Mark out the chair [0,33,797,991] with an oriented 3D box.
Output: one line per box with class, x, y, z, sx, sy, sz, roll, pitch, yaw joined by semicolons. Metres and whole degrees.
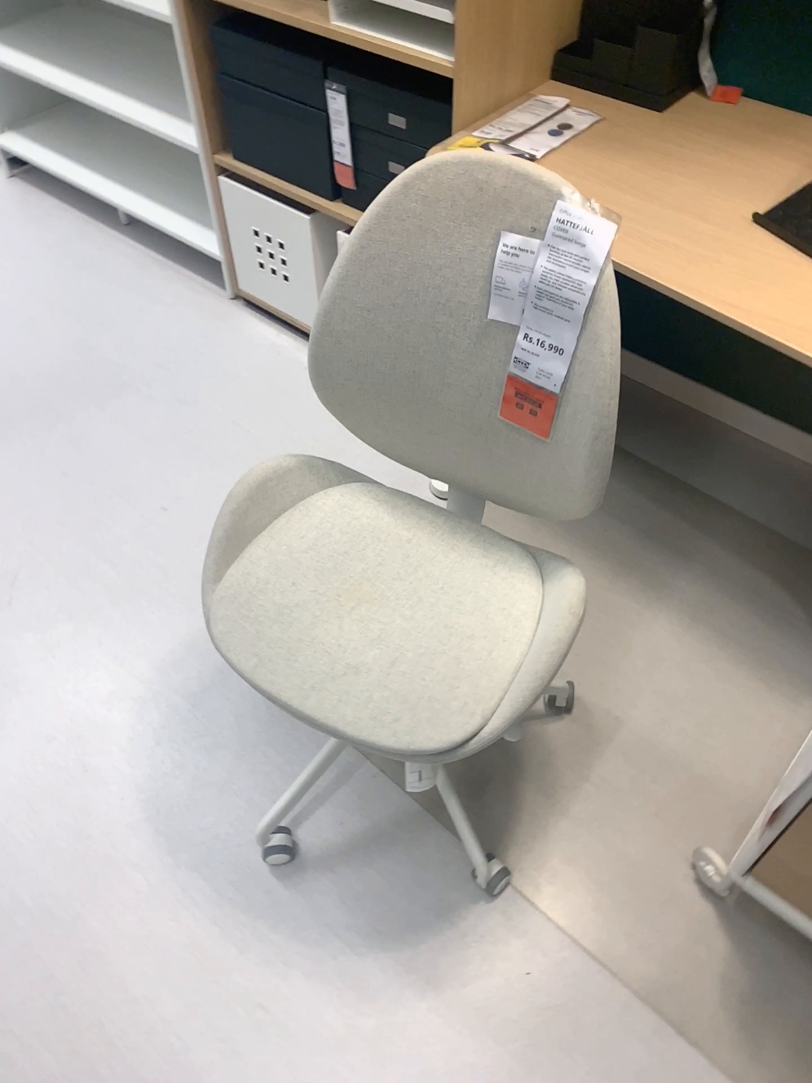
chair;-0.037;0.012;1.138;0.631;0.997;0.641;24;54;20
